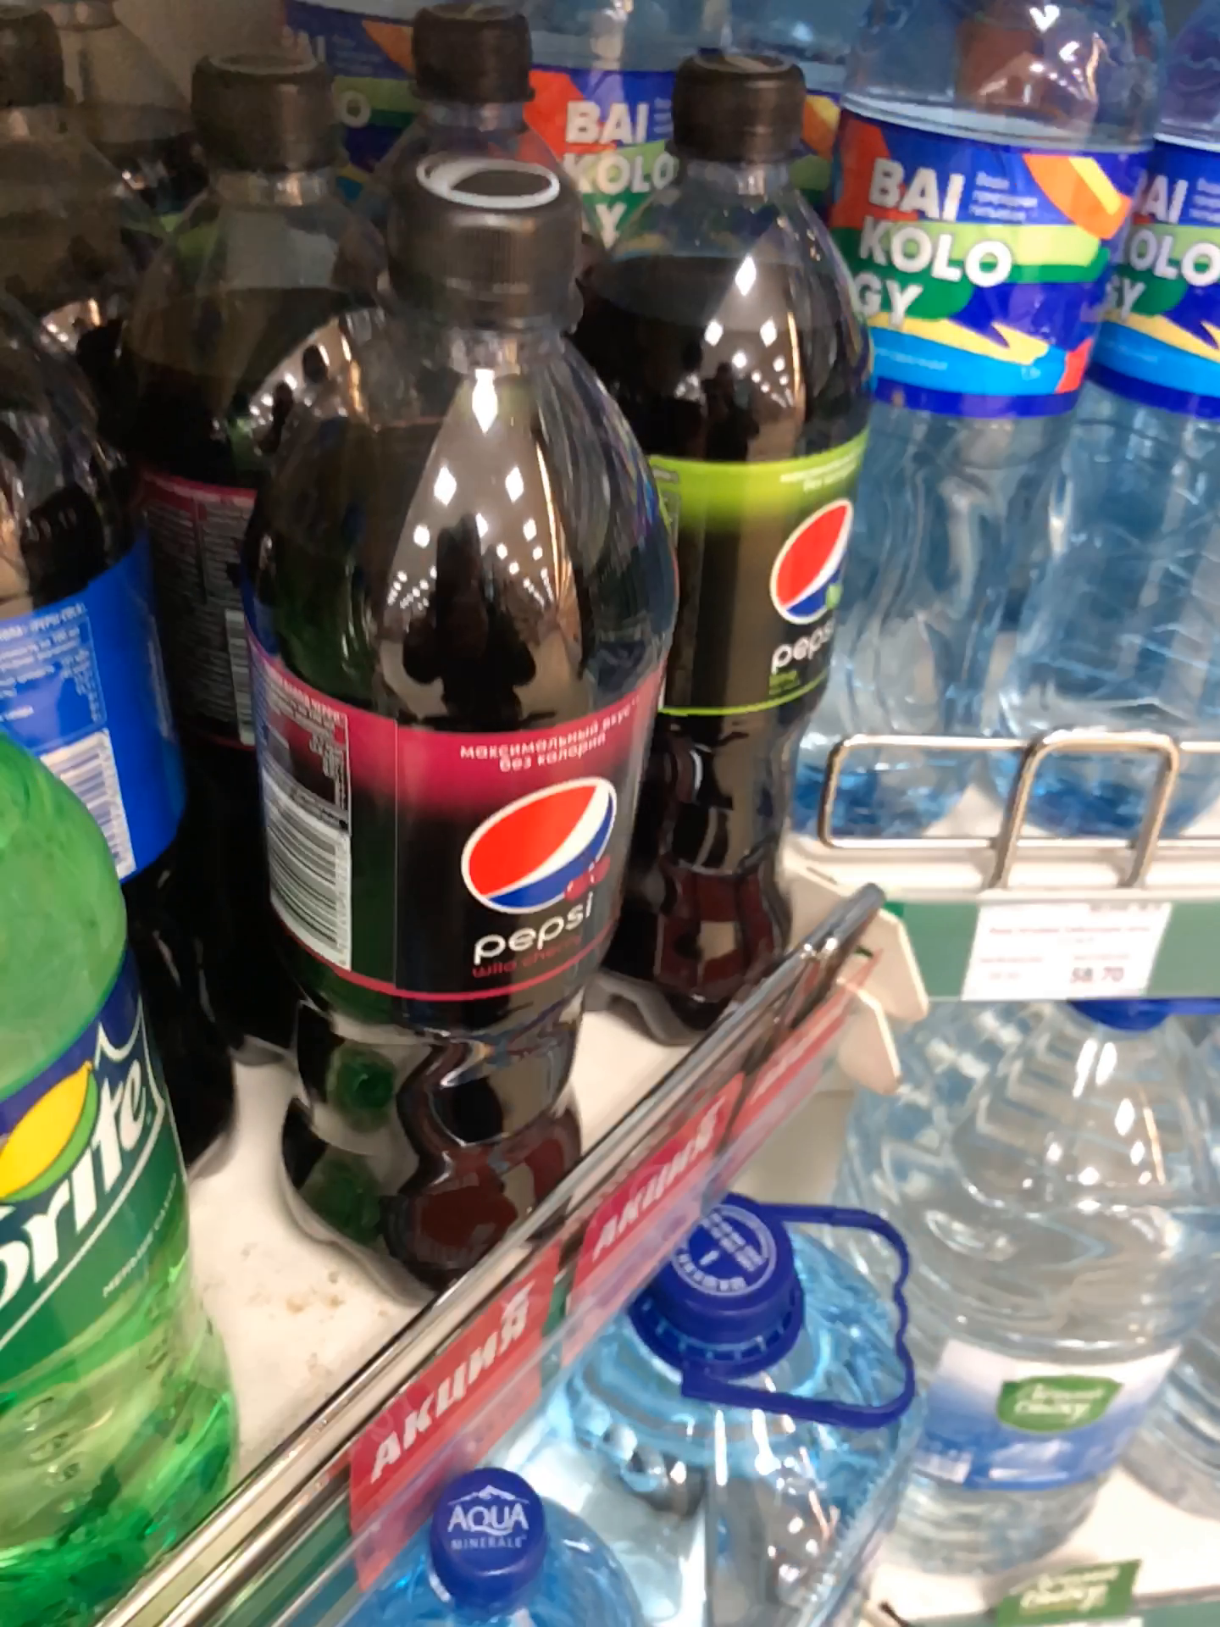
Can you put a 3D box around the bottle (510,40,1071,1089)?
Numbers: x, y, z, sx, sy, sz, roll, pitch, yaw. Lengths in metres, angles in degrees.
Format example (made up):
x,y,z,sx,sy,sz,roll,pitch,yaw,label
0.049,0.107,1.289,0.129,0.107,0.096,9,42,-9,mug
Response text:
x,y,z,sx,sy,sz,roll,pitch,yaw,label
0.033,-0.056,0.374,0.086,0.263,0.077,-23,46,-32,bottle

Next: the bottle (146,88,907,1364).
x,y,z,sx,sy,sz,roll,pitch,yaw,label
-0.028,0.000,0.287,0.086,0.256,0.077,-23,50,-32,bottle
